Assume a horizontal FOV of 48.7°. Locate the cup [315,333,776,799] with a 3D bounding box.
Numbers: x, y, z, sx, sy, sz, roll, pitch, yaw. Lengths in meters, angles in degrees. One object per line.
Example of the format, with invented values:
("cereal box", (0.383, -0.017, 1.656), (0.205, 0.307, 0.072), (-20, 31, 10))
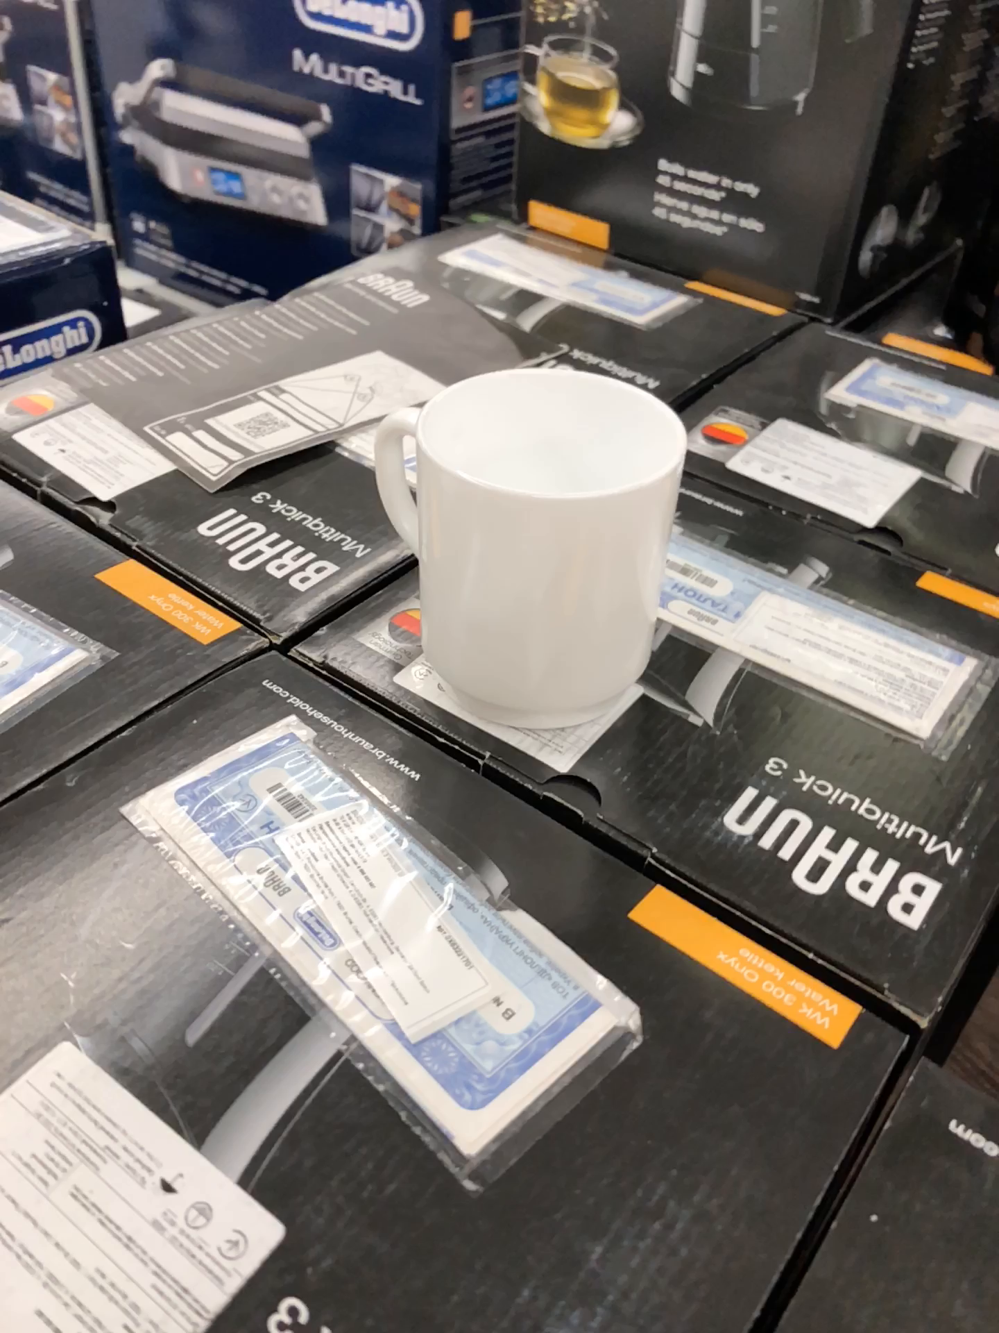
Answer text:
("cup", (0.012, -0.038, 0.355), (0.110, 0.091, 0.082), (29, 44, 32))
